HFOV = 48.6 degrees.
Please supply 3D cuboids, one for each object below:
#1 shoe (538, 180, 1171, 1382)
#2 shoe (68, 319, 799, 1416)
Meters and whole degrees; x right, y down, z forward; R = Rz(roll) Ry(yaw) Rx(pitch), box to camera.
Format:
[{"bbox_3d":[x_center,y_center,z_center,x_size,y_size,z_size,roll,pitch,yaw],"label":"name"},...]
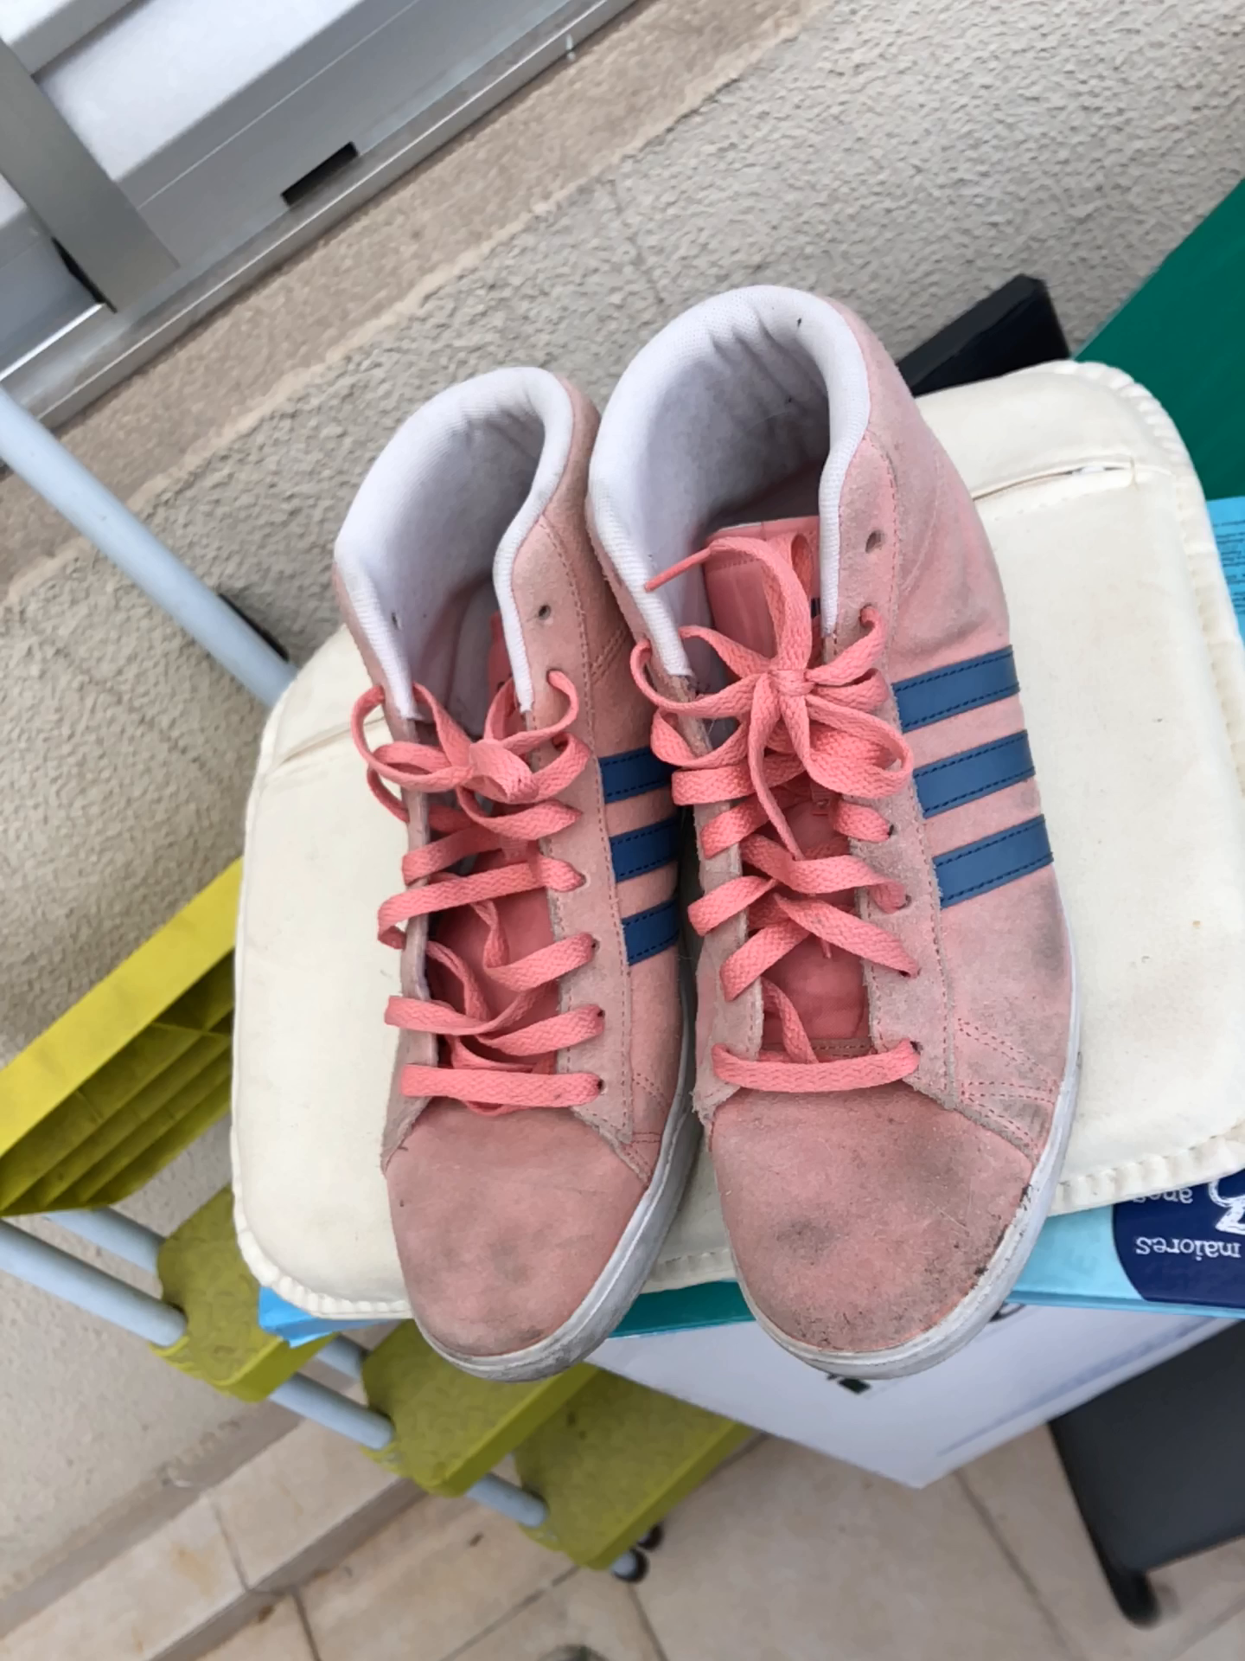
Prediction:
[{"bbox_3d":[0.059,-0.009,0.338,0.100,0.129,0.251,-9,59,19],"label":"shoe"},{"bbox_3d":[-0.028,0.010,0.373,0.100,0.129,0.251,-3,61,22],"label":"shoe"}]
